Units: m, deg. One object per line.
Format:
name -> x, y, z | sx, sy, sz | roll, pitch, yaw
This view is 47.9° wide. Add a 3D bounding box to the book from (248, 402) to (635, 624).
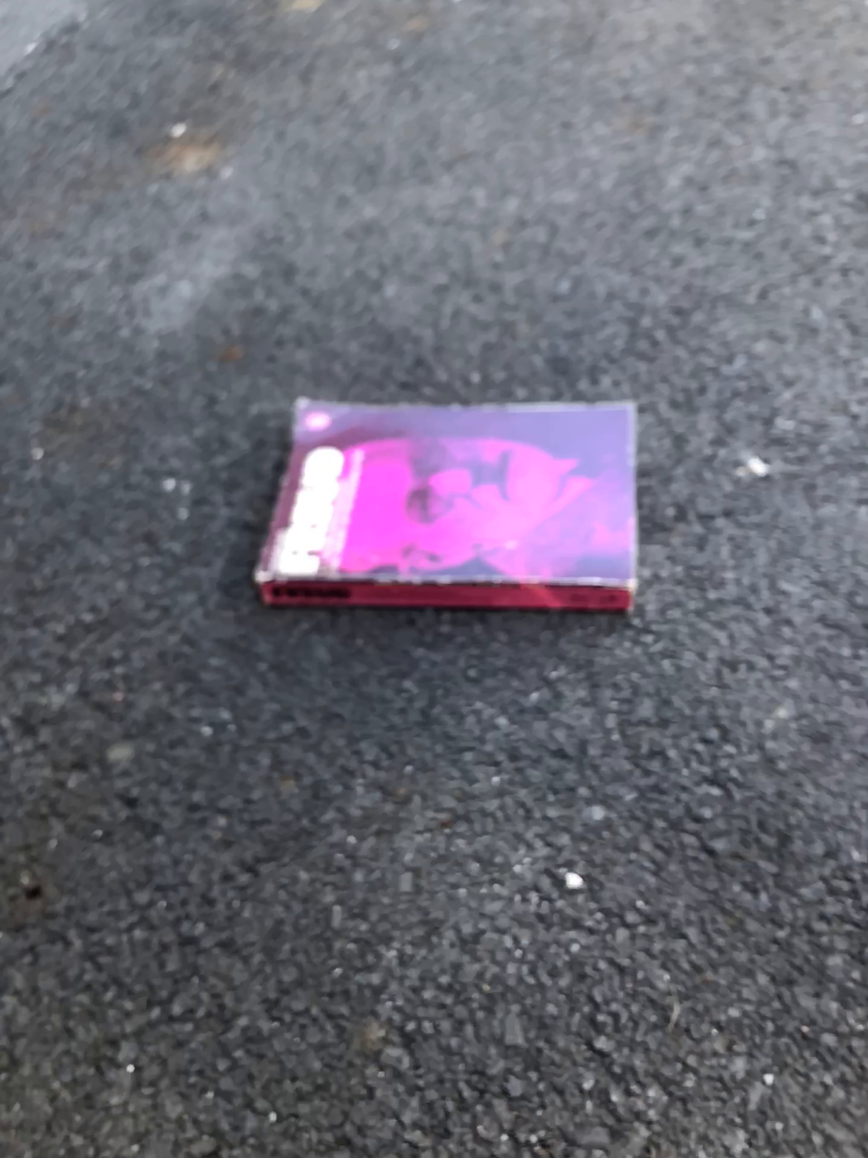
book -> 0.010, -0.041, 0.537 | 0.194, 0.031, 0.131 | 2, 52, 9
